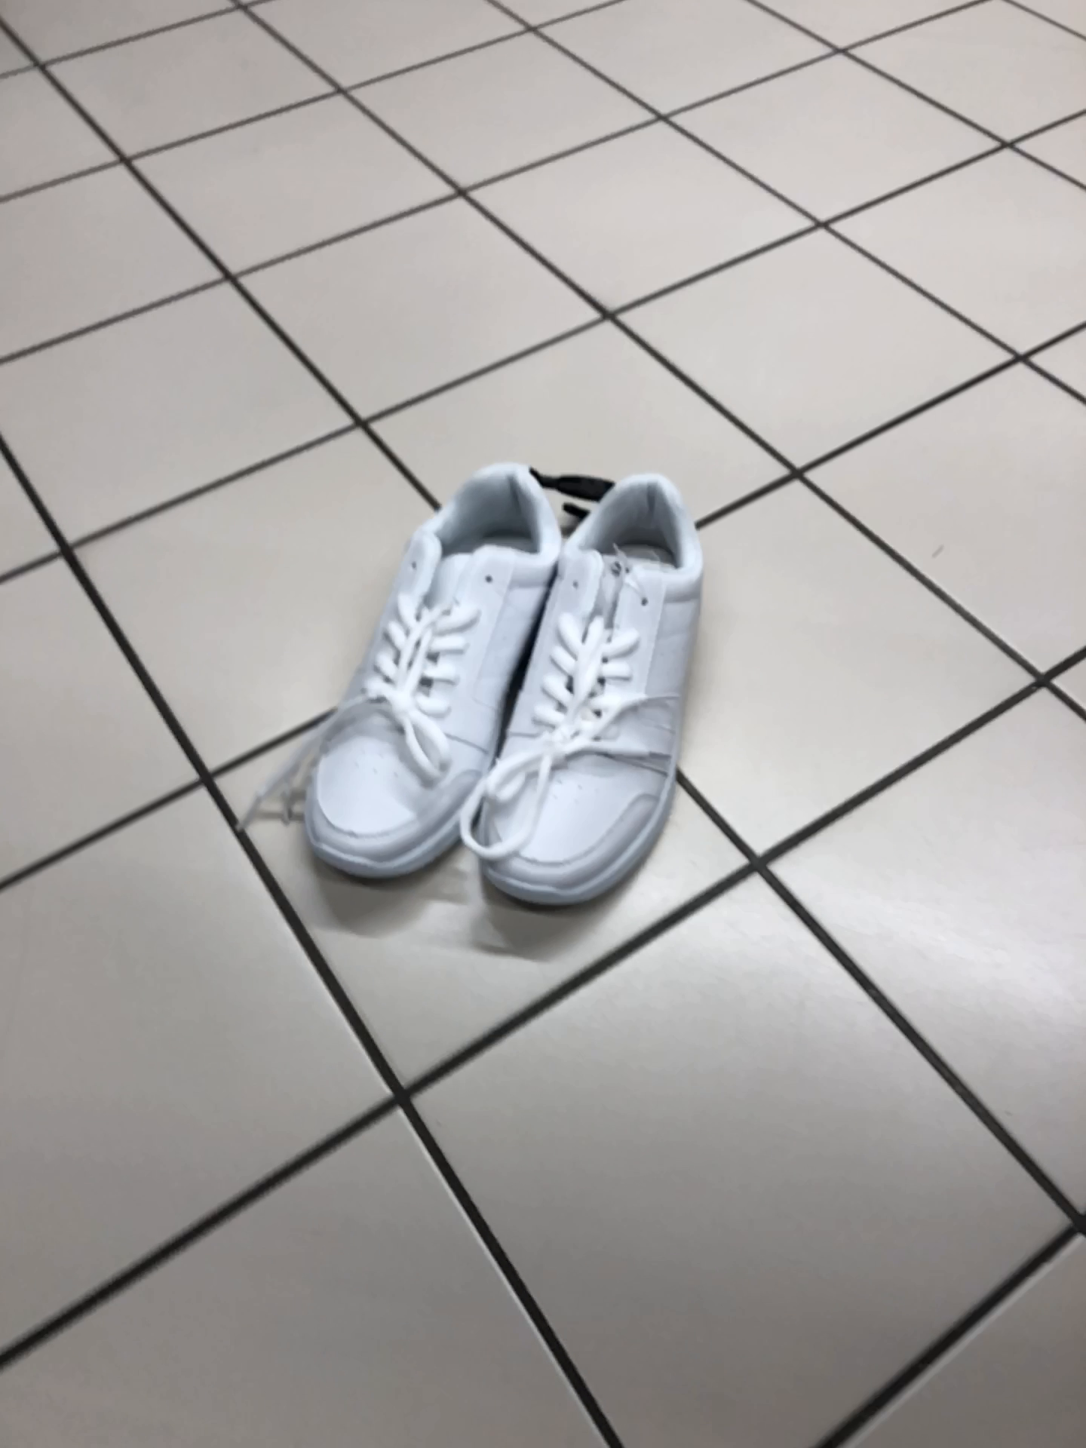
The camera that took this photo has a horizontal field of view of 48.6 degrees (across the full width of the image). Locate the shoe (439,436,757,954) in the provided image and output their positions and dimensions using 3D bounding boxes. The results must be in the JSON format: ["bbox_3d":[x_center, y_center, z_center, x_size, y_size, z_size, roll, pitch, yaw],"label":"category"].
[{"bbox_3d":[0.034,-0.023,0.595,0.090,0.090,0.241,13,54,10],"label":"shoe"}]

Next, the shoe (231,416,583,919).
[{"bbox_3d":[-0.055,-0.037,0.609,0.090,0.090,0.241,13,54,10],"label":"shoe"}]
